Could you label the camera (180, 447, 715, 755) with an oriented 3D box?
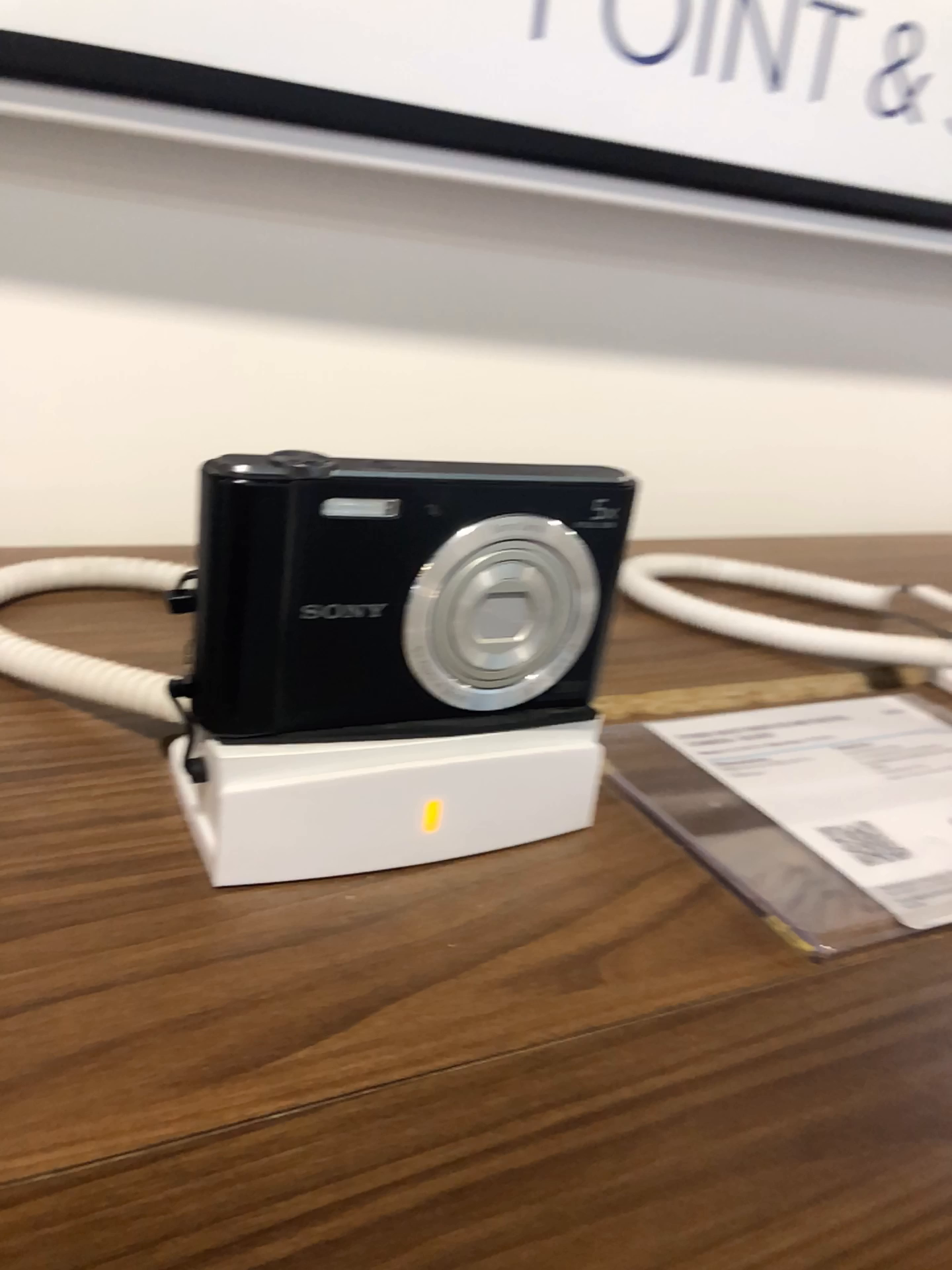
[{"bbox_3d":[-0.006,-0.008,0.215,0.100,0.050,0.030,-2,20,-23],"label":"camera"}]
